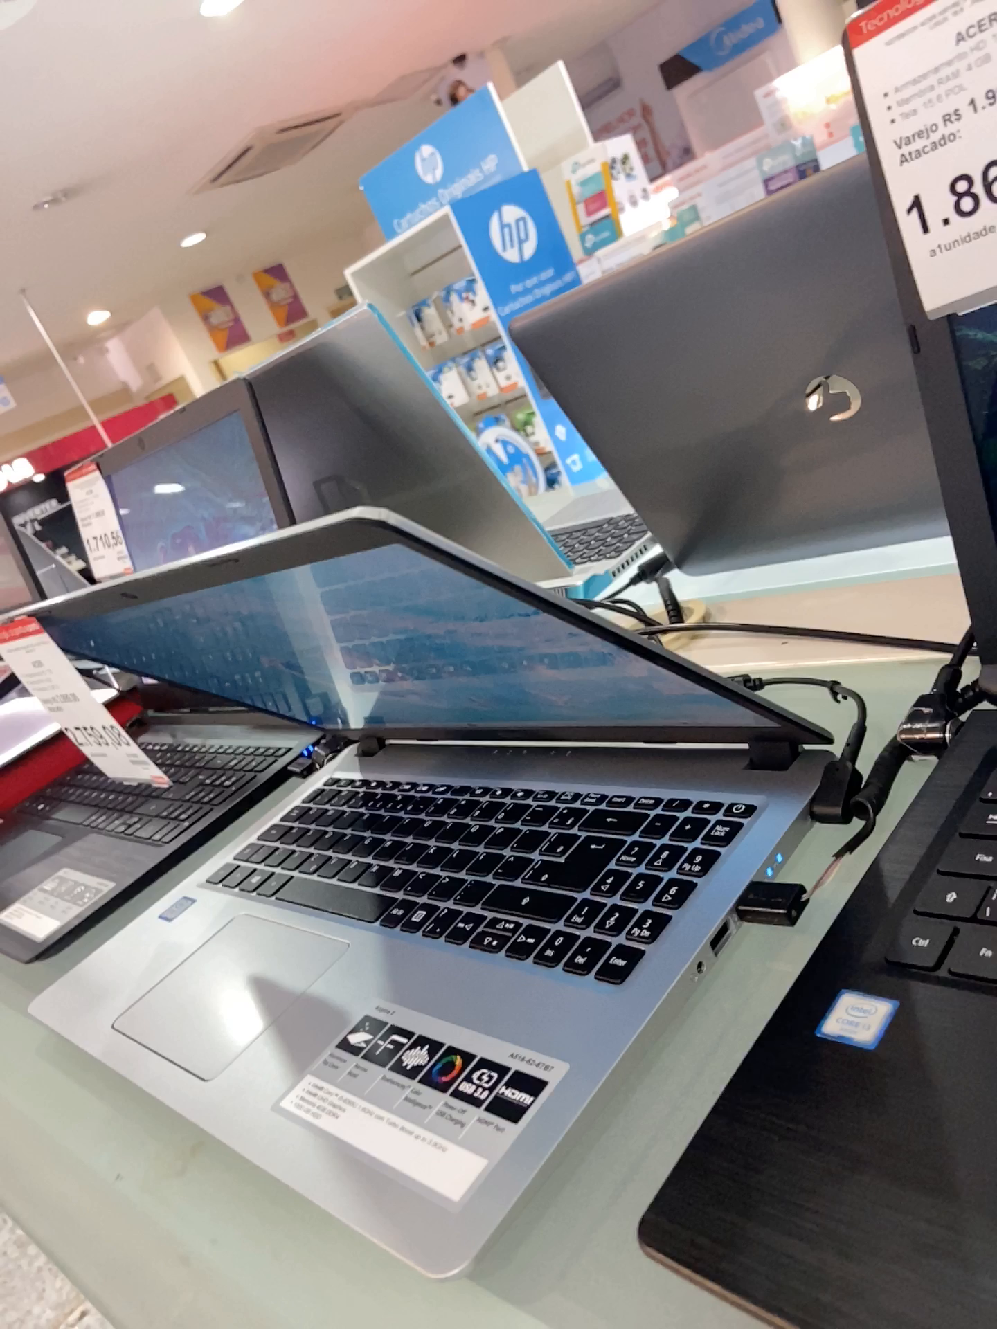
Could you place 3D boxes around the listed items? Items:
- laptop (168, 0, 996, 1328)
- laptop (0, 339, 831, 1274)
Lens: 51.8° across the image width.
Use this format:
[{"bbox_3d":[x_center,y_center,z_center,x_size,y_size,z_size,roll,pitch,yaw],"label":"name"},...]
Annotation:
[{"bbox_3d":[0.189,-0.049,0.162,0.355,0.239,0.288,-7,26,50],"label":"laptop"},{"bbox_3d":[-0.094,0.034,0.449,0.353,0.176,0.237,-6,27,48],"label":"laptop"}]
